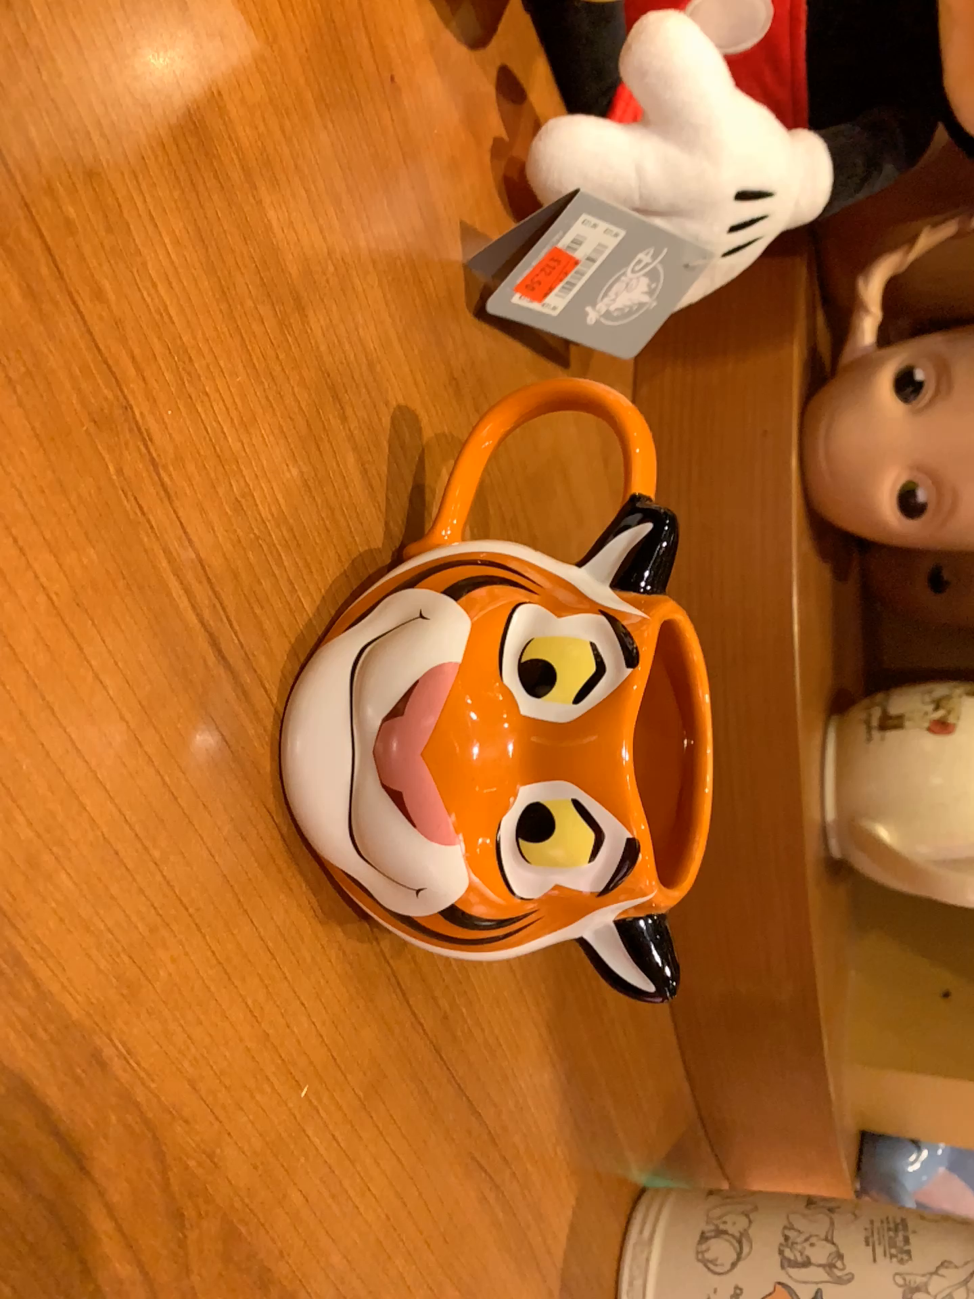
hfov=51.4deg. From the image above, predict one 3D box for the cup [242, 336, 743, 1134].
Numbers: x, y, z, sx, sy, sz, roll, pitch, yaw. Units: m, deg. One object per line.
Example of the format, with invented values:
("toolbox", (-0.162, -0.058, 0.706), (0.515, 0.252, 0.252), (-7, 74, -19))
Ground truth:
("cup", (0.009, 0.018, 0.257), (0.107, 0.087, 0.149), (6, 83, -64))
